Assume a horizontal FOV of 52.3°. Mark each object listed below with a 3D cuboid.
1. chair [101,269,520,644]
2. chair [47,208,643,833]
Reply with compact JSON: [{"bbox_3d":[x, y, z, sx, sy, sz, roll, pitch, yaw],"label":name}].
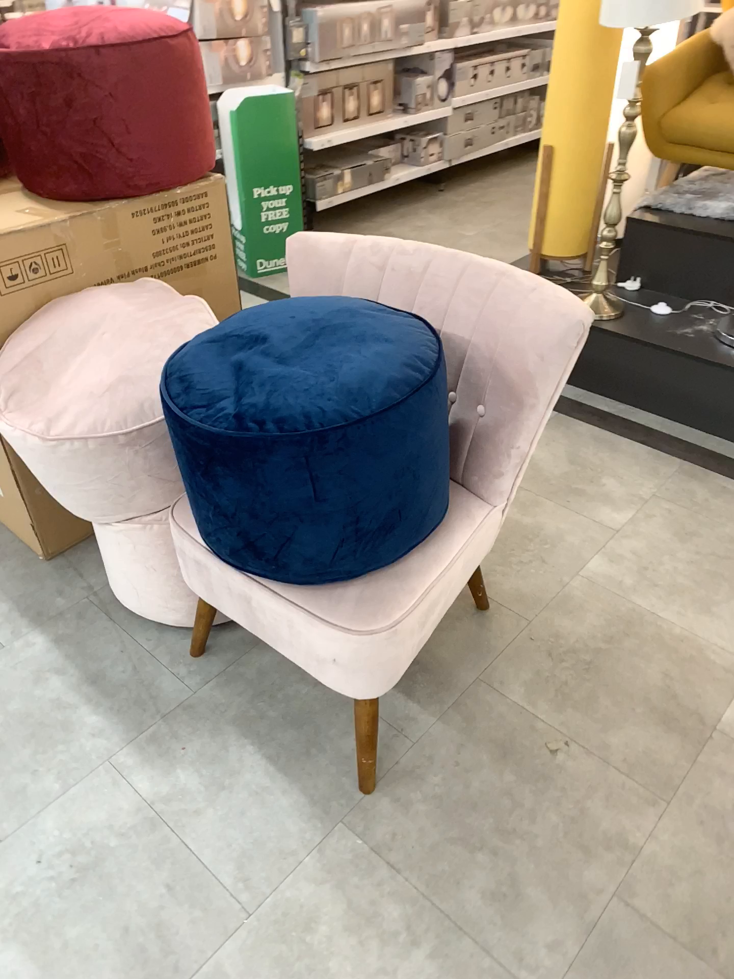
[{"bbox_3d":[-0.087,-0.105,1.346,0.497,0.340,0.495,27,45,32],"label":"chair"},{"bbox_3d":[-0.017,-0.014,1.485,0.693,0.773,0.734,27,45,32],"label":"chair"}]
